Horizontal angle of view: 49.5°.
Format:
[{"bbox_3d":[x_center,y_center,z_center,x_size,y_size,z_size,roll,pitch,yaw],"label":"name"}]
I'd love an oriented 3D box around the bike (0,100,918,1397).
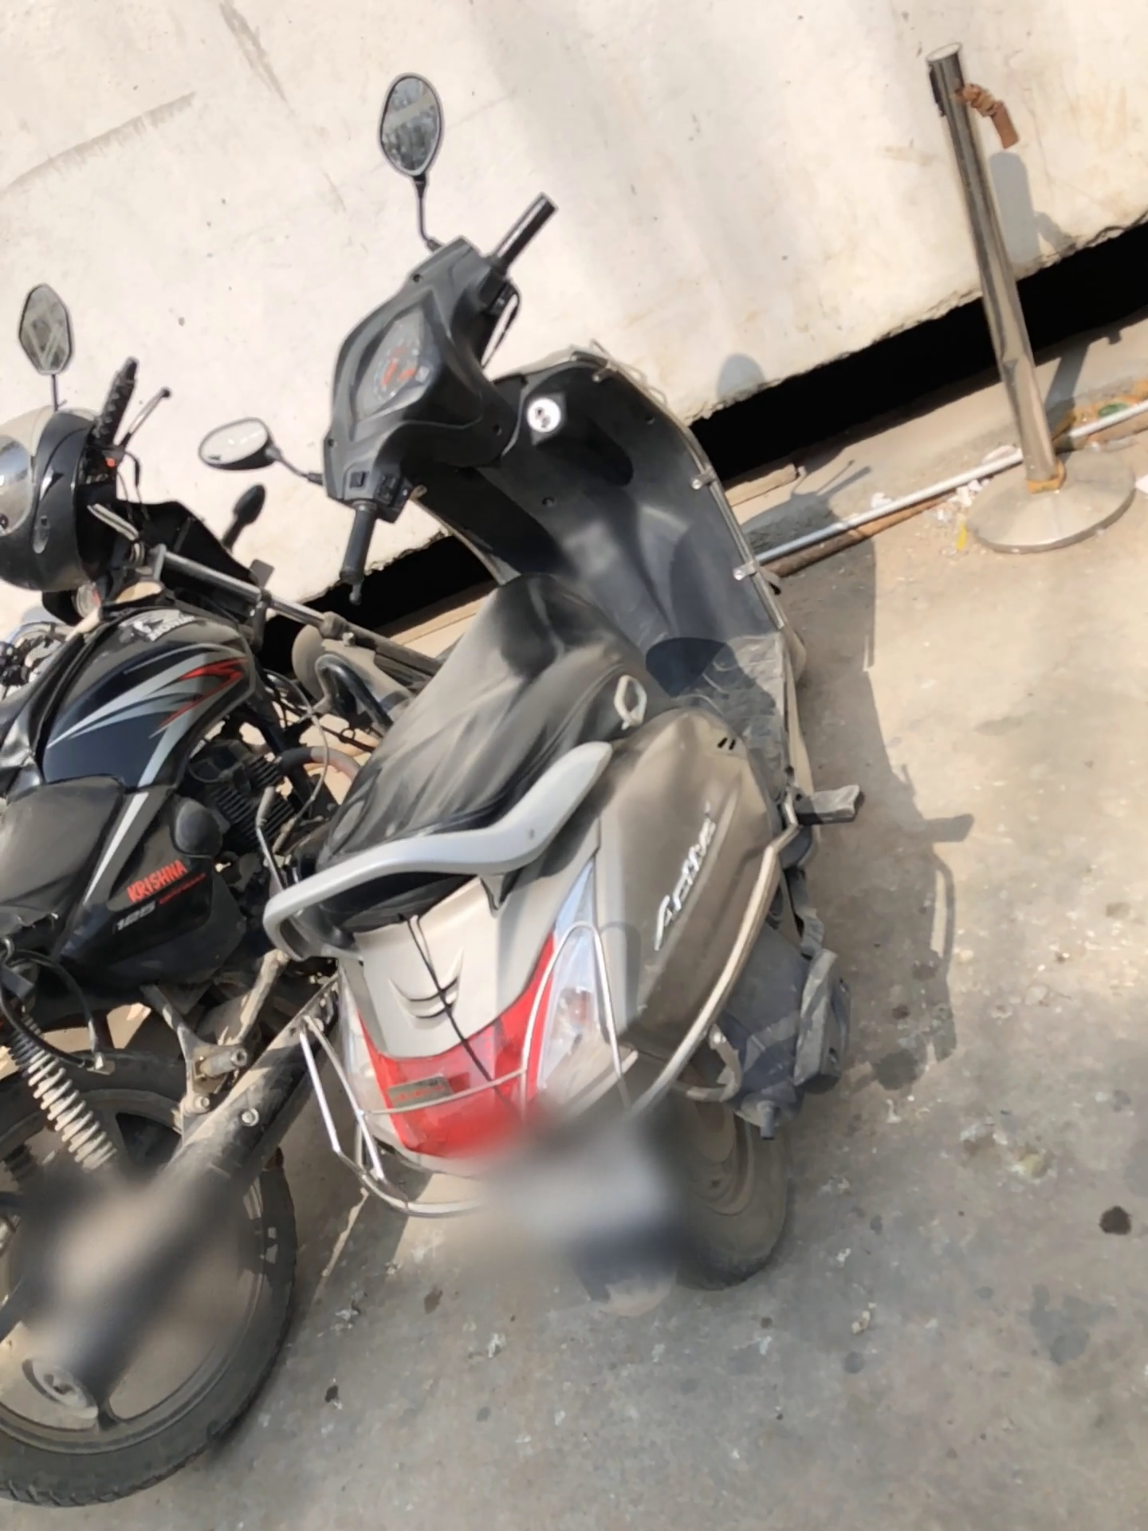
[{"bbox_3d":[-0.003,-0.130,1.868,0.616,1.108,1.506,-16,34,21],"label":"bike"}]
